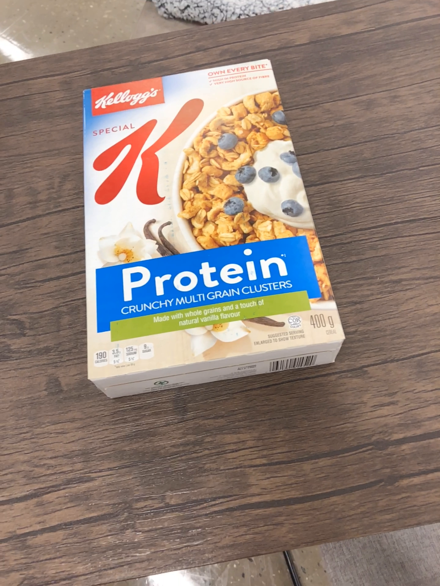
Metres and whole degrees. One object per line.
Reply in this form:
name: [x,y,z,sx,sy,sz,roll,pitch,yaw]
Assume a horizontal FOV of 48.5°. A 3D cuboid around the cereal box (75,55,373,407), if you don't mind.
cereal box: [-0.014,-0.061,0.375,0.180,0.050,0.260,-9,63,1]
